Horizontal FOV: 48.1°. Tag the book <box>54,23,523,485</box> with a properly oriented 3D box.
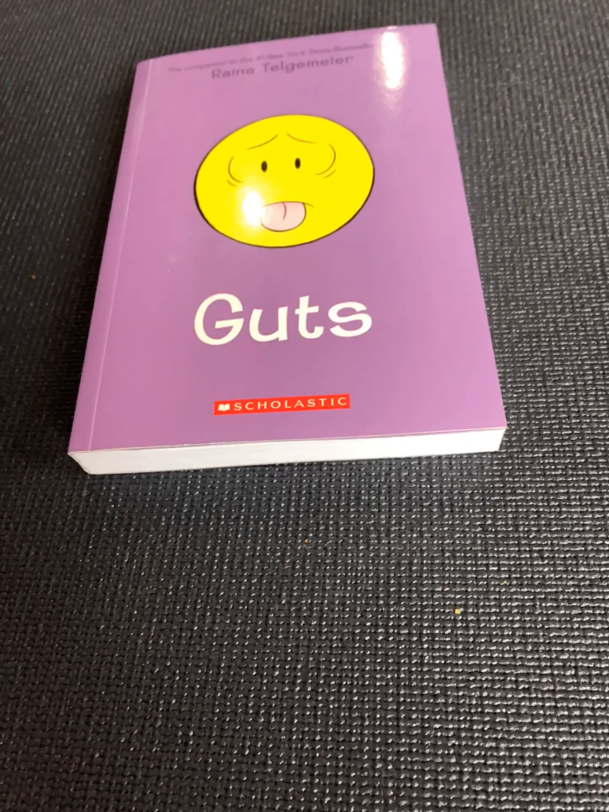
[{"bbox_3d":[-0.007,-0.071,0.268,0.143,0.024,0.202,-4,60,5],"label":"book"}]
